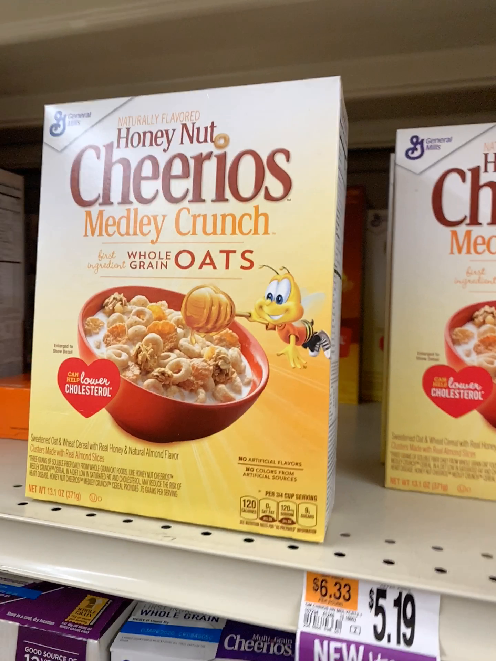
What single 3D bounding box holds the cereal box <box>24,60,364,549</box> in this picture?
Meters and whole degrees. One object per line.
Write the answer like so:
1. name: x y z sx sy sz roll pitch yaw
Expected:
1. cereal box: -0.032 -0.018 0.317 0.190 0.250 0.060 2 -2 17
